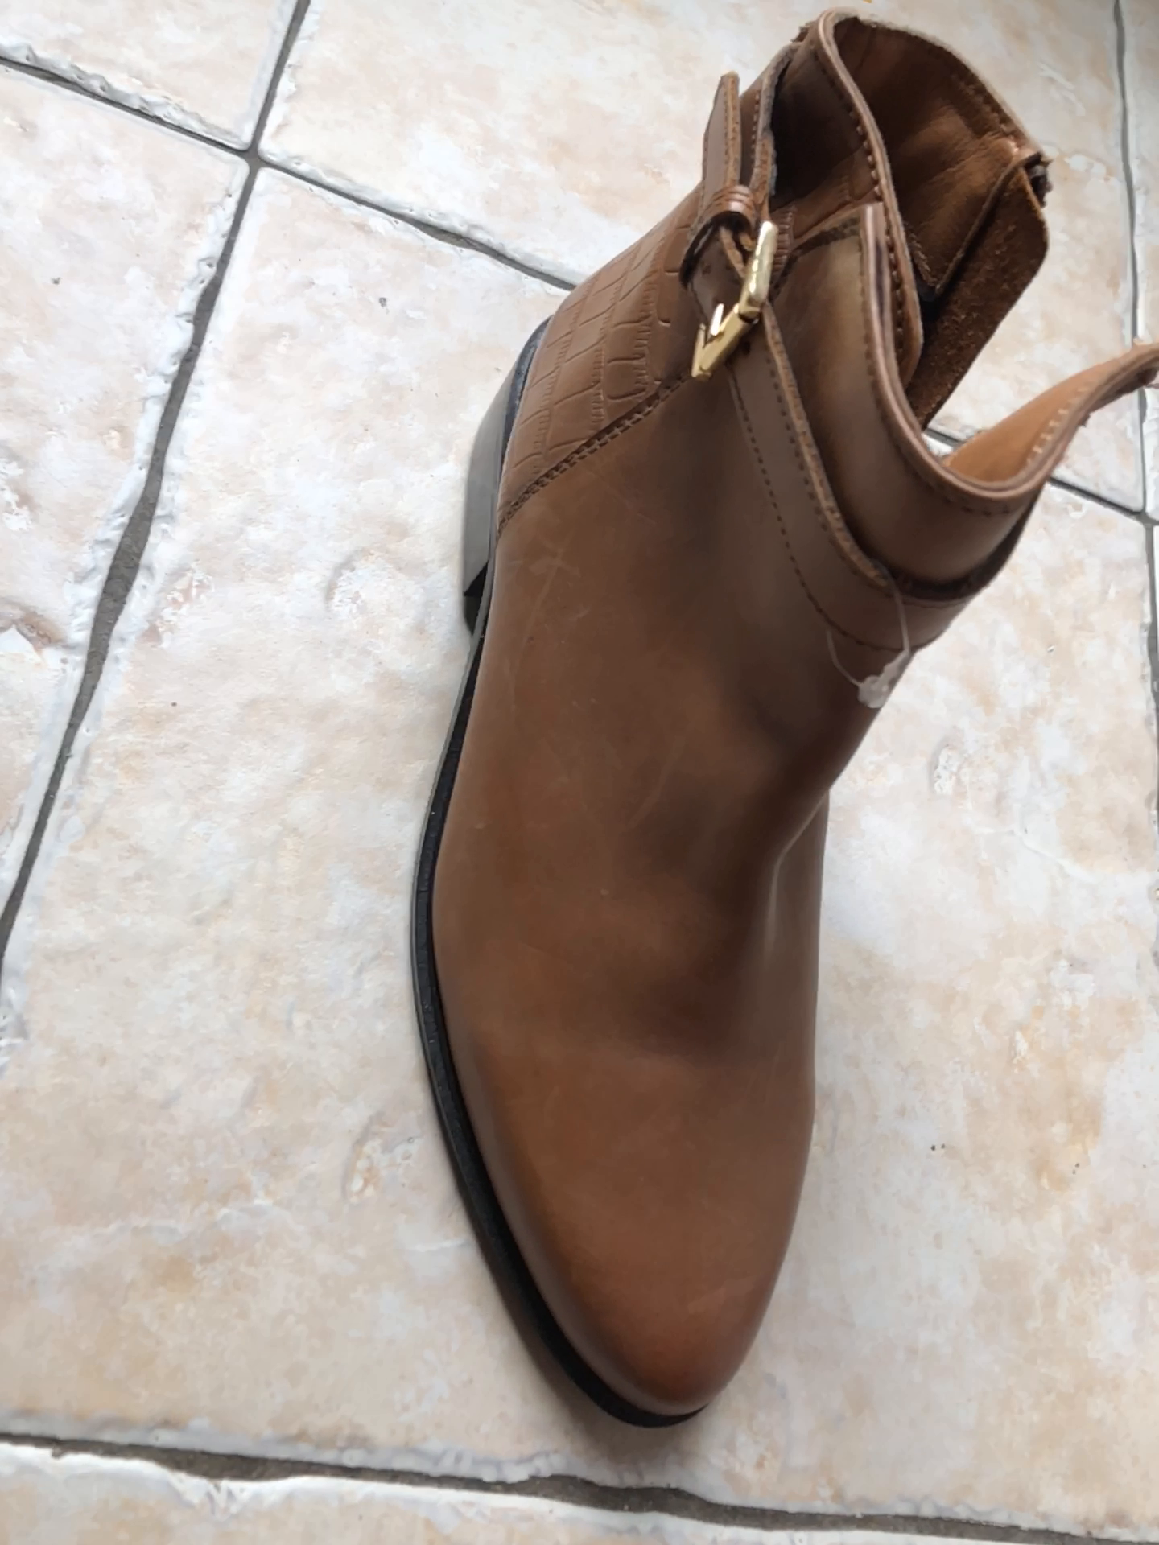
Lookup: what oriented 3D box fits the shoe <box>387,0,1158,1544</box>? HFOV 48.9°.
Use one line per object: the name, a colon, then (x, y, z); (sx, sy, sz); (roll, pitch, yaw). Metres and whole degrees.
shoe: (0.031, -0.017, 0.270); (0.090, 0.179, 0.301); (8, 68, -19)
